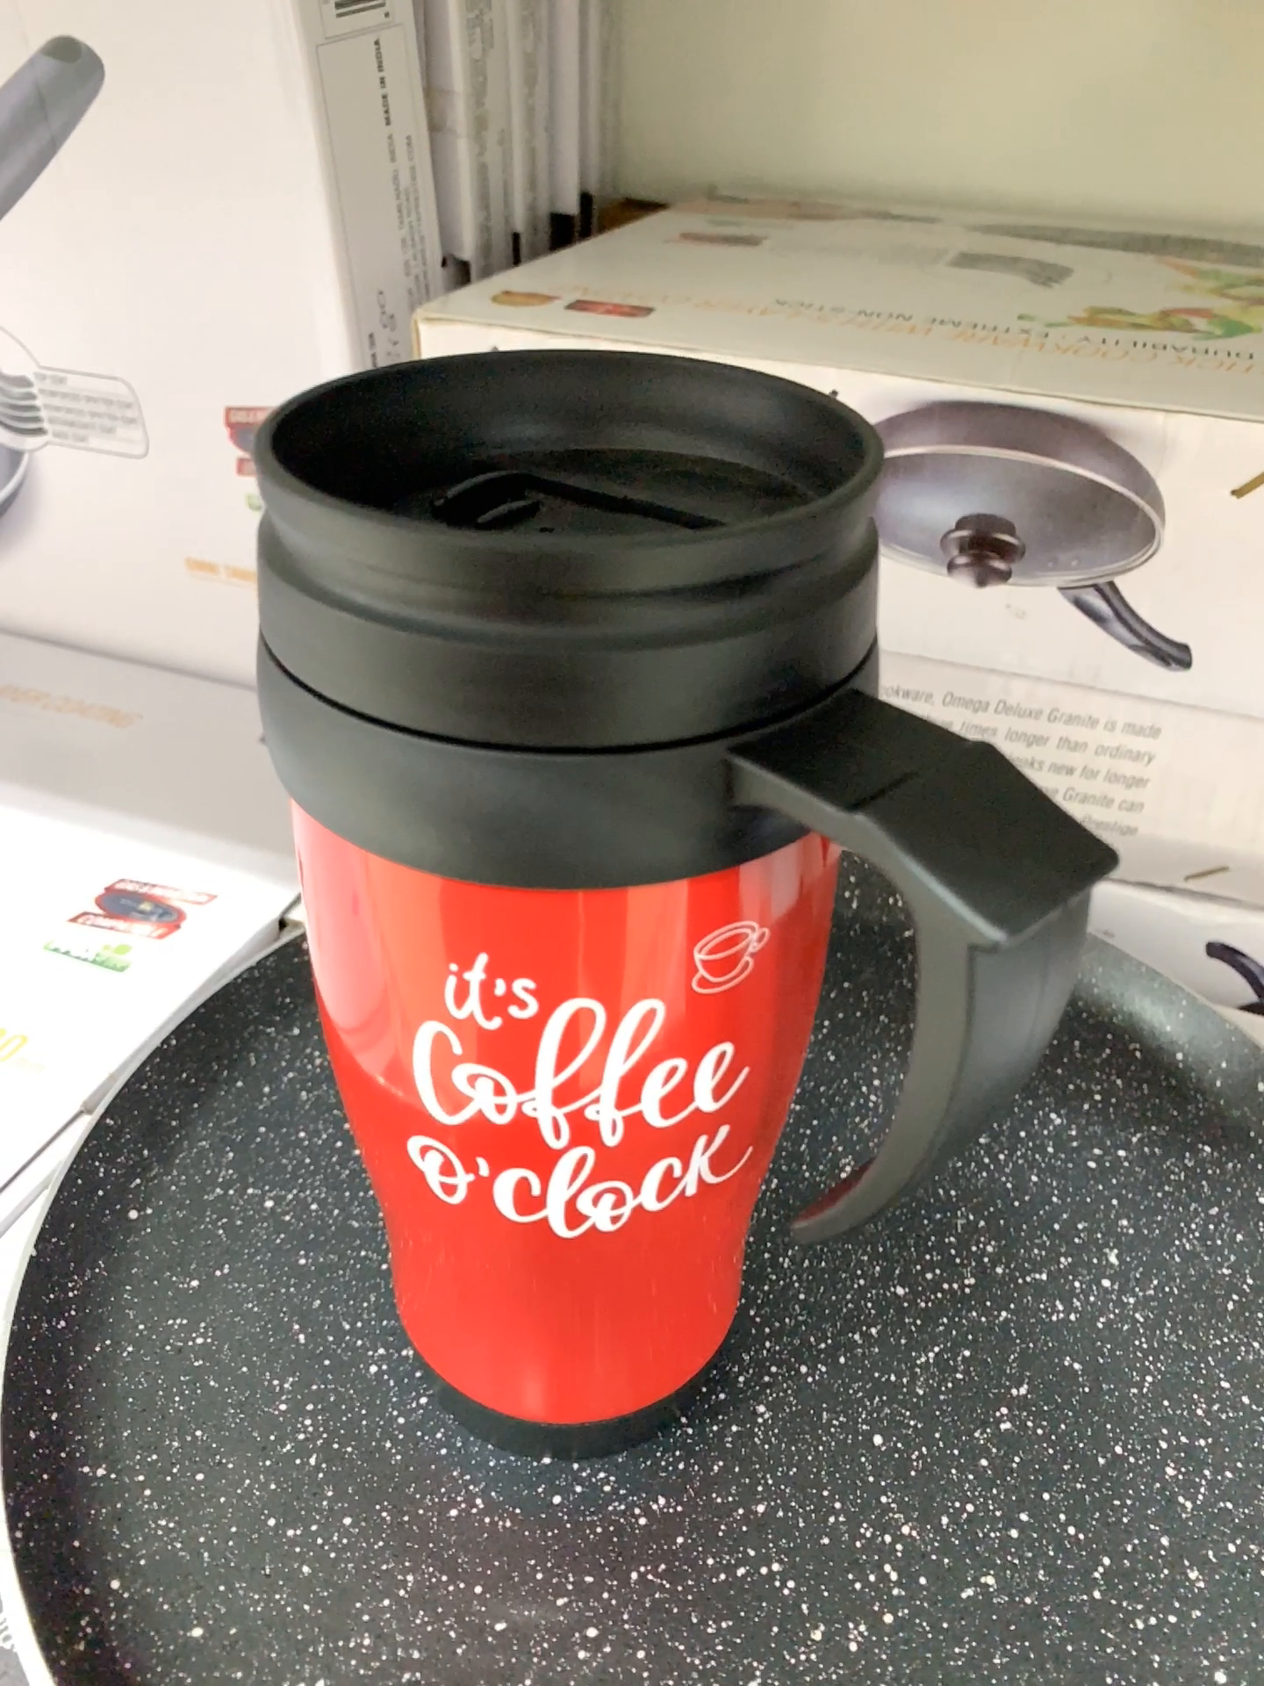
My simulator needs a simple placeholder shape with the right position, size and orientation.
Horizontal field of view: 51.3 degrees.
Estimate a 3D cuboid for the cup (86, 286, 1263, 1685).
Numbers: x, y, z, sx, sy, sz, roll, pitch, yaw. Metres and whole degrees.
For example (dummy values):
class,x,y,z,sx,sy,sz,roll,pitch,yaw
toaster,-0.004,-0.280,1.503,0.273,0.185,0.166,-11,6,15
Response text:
class,x,y,z,sx,sy,sz,roll,pitch,yaw
cup,0.008,0.022,0.196,0.120,0.169,0.090,27,41,33
